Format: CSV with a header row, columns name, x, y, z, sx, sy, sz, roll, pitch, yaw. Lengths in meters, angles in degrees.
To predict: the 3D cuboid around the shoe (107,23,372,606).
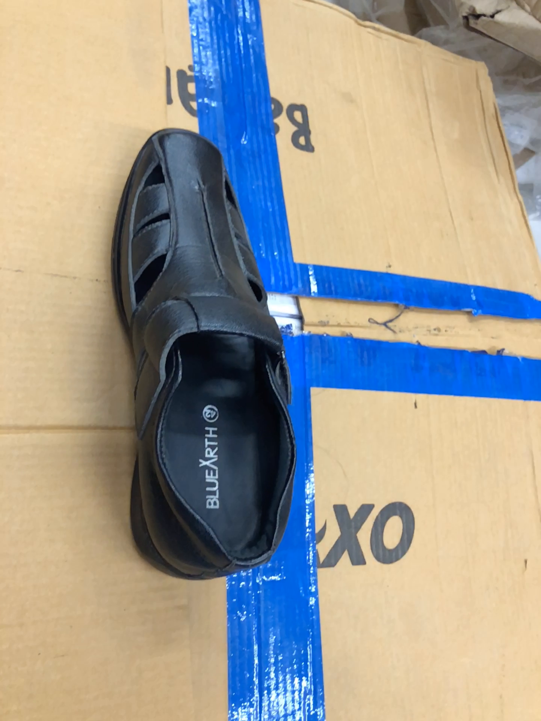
name,x,y,z,sx,sy,sz,roll,pitch,yaw
shoe,-0.031,-0.026,0.357,0.100,0.099,0.300,2,73,-27
